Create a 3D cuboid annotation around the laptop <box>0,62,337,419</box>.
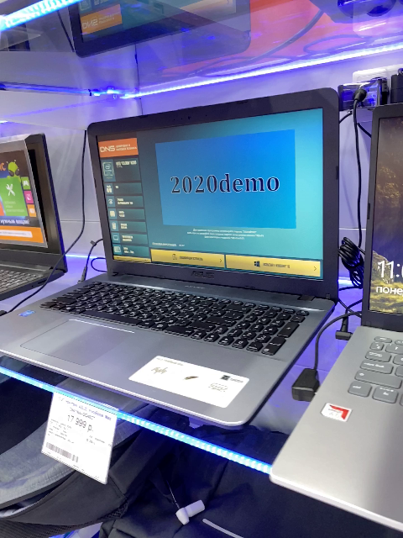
[{"bbox_3d":[-0.071,-0.055,0.468,0.372,0.232,0.262,4,19,32],"label":"laptop"}]
